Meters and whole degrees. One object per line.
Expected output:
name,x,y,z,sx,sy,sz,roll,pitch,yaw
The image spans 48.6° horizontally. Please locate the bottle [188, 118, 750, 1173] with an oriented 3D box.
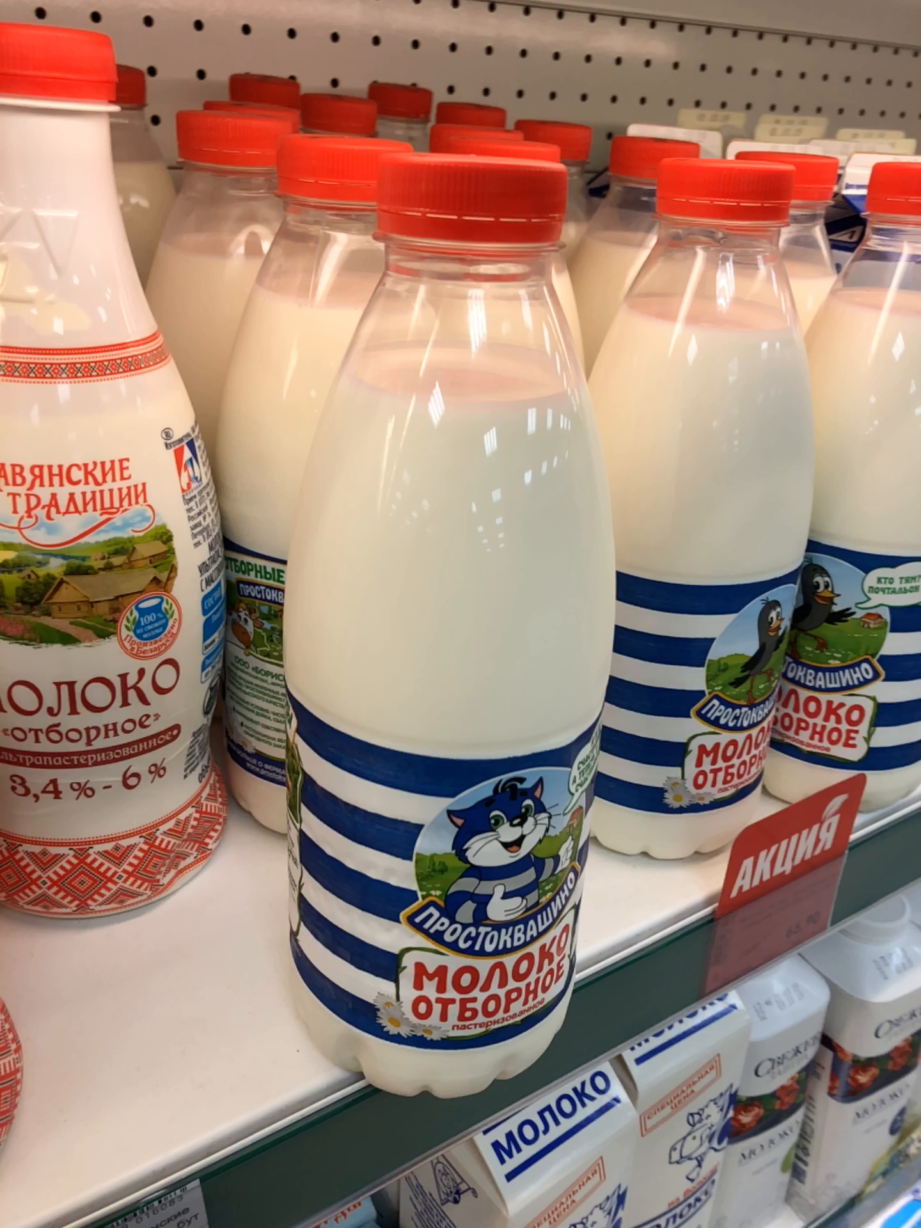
bottle,-0.005,0.008,0.252,0.090,0.228,0.080,-8,24,-22
